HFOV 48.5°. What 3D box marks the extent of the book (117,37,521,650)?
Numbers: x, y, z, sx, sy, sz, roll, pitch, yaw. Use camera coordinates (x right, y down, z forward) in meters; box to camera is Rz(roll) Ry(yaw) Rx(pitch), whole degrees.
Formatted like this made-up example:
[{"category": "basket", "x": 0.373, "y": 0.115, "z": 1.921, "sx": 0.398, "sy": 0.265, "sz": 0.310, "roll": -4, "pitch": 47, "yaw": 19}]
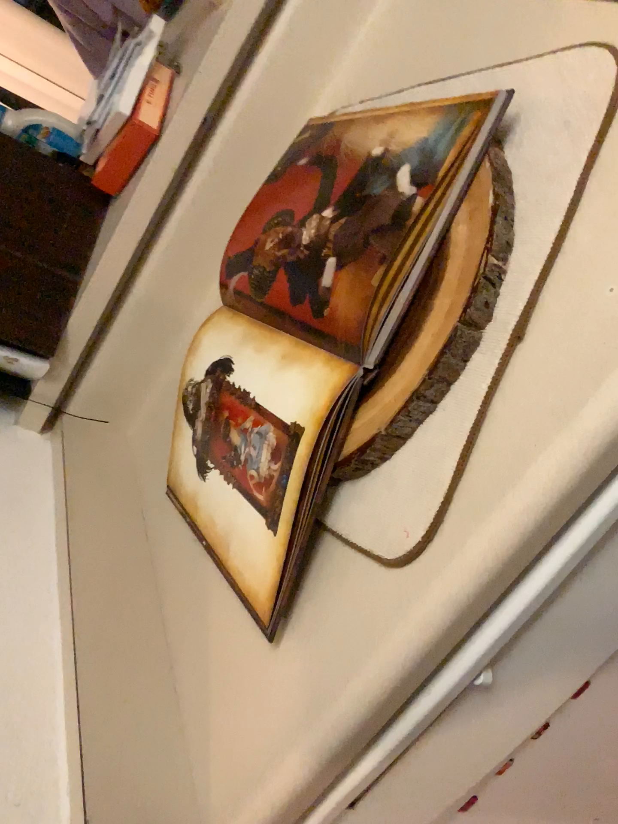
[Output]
[{"category": "book", "x": -0.036, "y": -0.084, "z": 0.643, "sx": 0.340, "sy": 0.040, "sz": 0.470, "roll": 32, "pitch": 100, "yaw": 57}]
